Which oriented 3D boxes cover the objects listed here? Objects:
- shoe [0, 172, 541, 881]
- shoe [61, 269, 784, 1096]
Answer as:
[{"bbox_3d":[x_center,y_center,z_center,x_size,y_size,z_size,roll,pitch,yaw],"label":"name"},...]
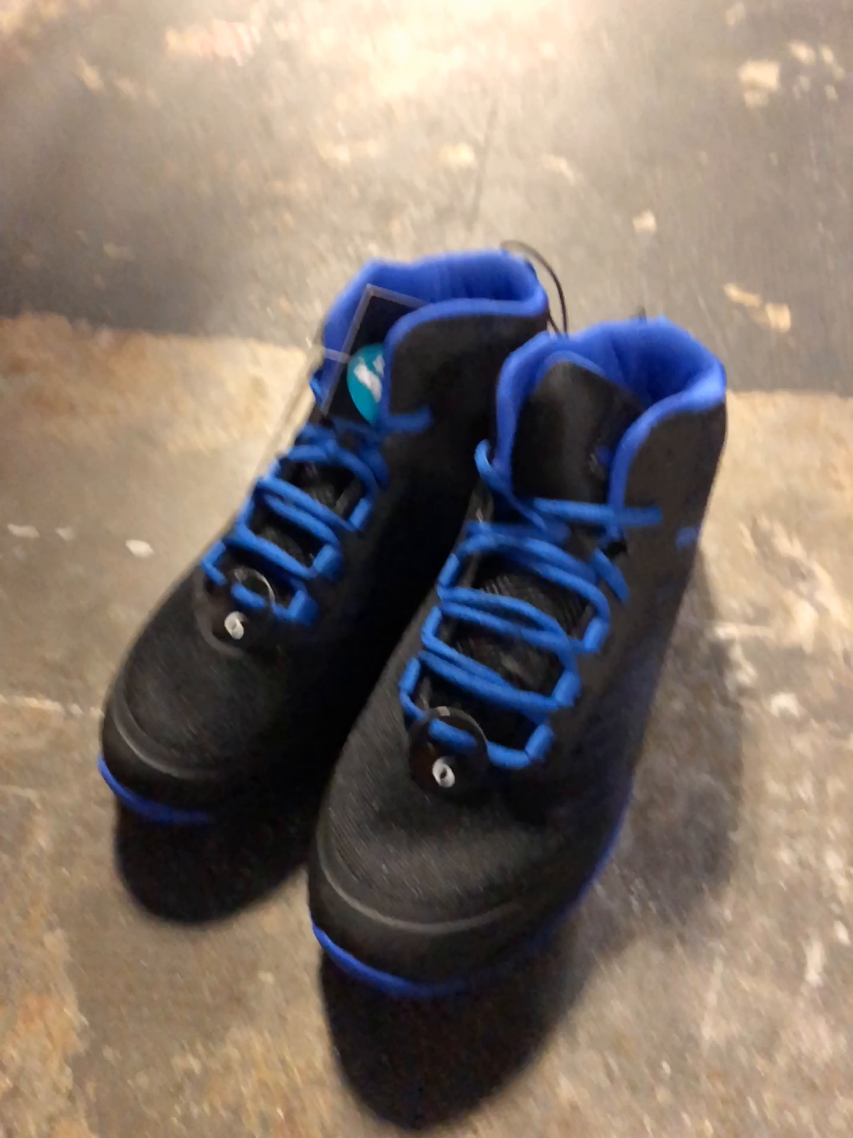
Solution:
[{"bbox_3d":[-0.064,-0.025,0.345,0.100,0.119,0.221,29,61,27],"label":"shoe"},{"bbox_3d":[0.019,0.025,0.322,0.110,0.119,0.231,22,59,24],"label":"shoe"}]
